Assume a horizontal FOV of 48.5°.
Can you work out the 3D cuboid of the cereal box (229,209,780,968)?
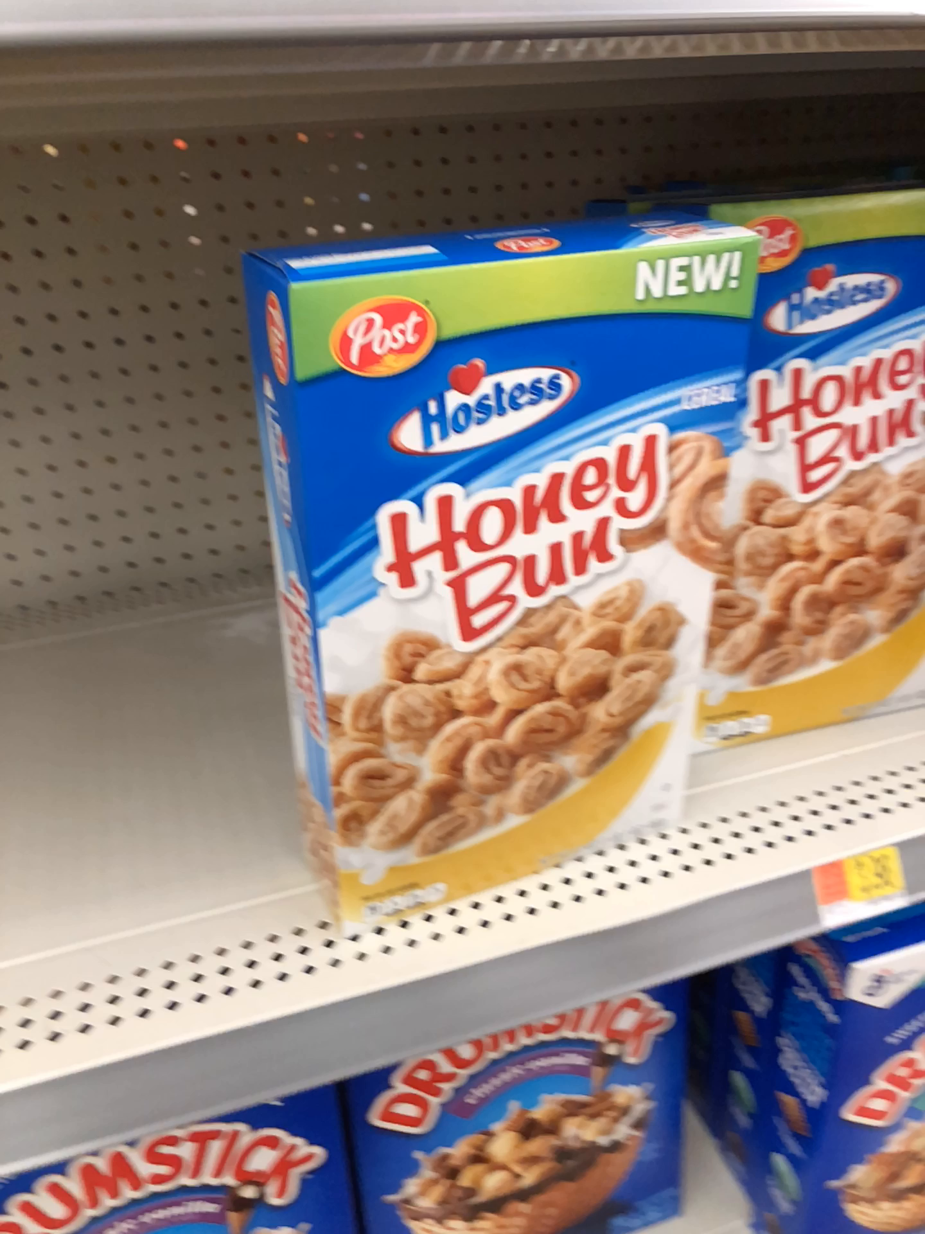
[{"bbox_3d":[0.021,-0.007,0.460,0.200,0.309,0.060,-13,32,-21],"label":"cereal box"}]
